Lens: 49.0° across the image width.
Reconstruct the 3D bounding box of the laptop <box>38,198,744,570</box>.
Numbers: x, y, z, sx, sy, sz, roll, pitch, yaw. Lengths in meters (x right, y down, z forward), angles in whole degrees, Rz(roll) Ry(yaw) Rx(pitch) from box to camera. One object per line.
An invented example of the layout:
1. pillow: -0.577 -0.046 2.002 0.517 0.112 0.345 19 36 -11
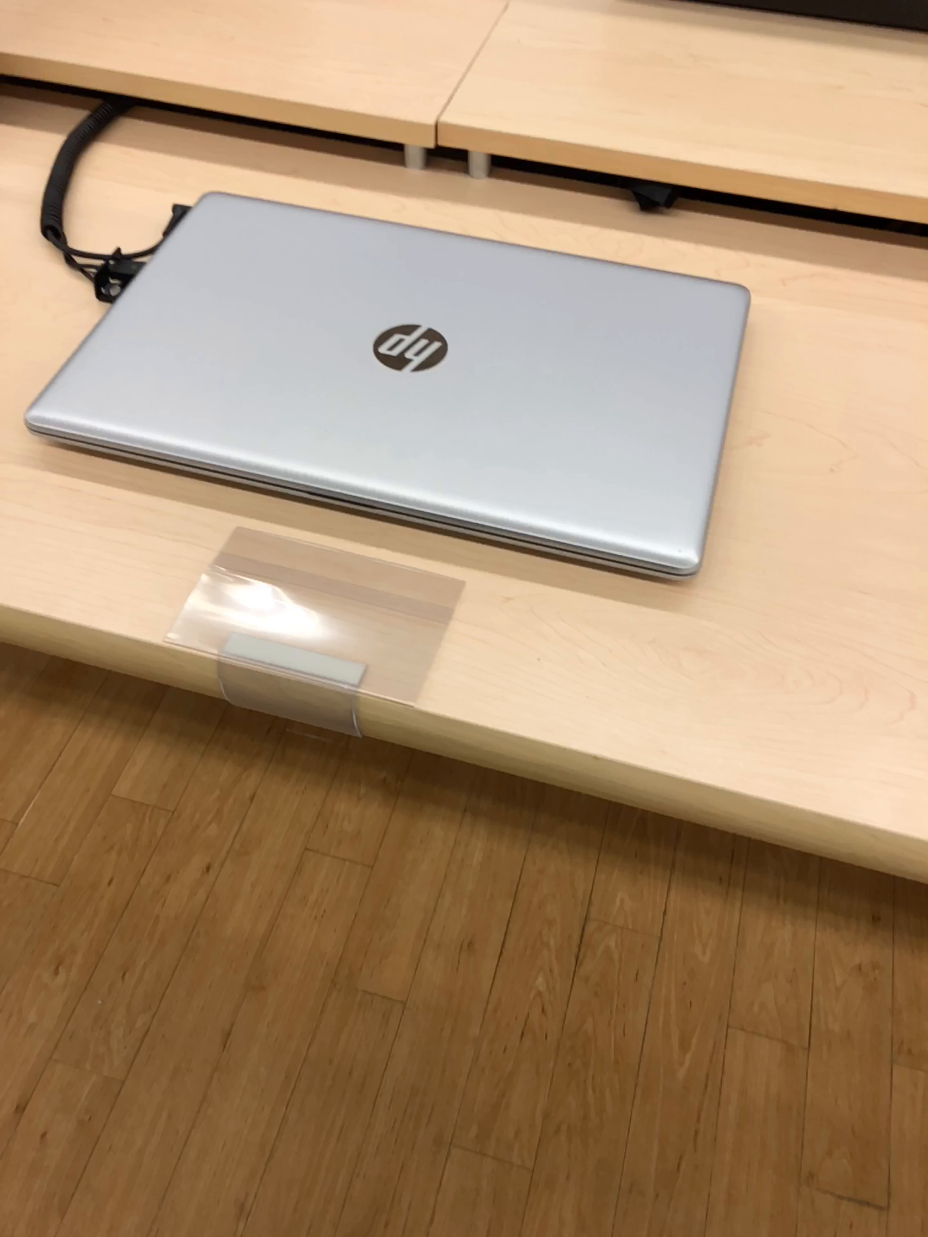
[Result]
1. laptop: -0.032 -0.171 0.660 0.397 0.001 0.258 13 54 9
